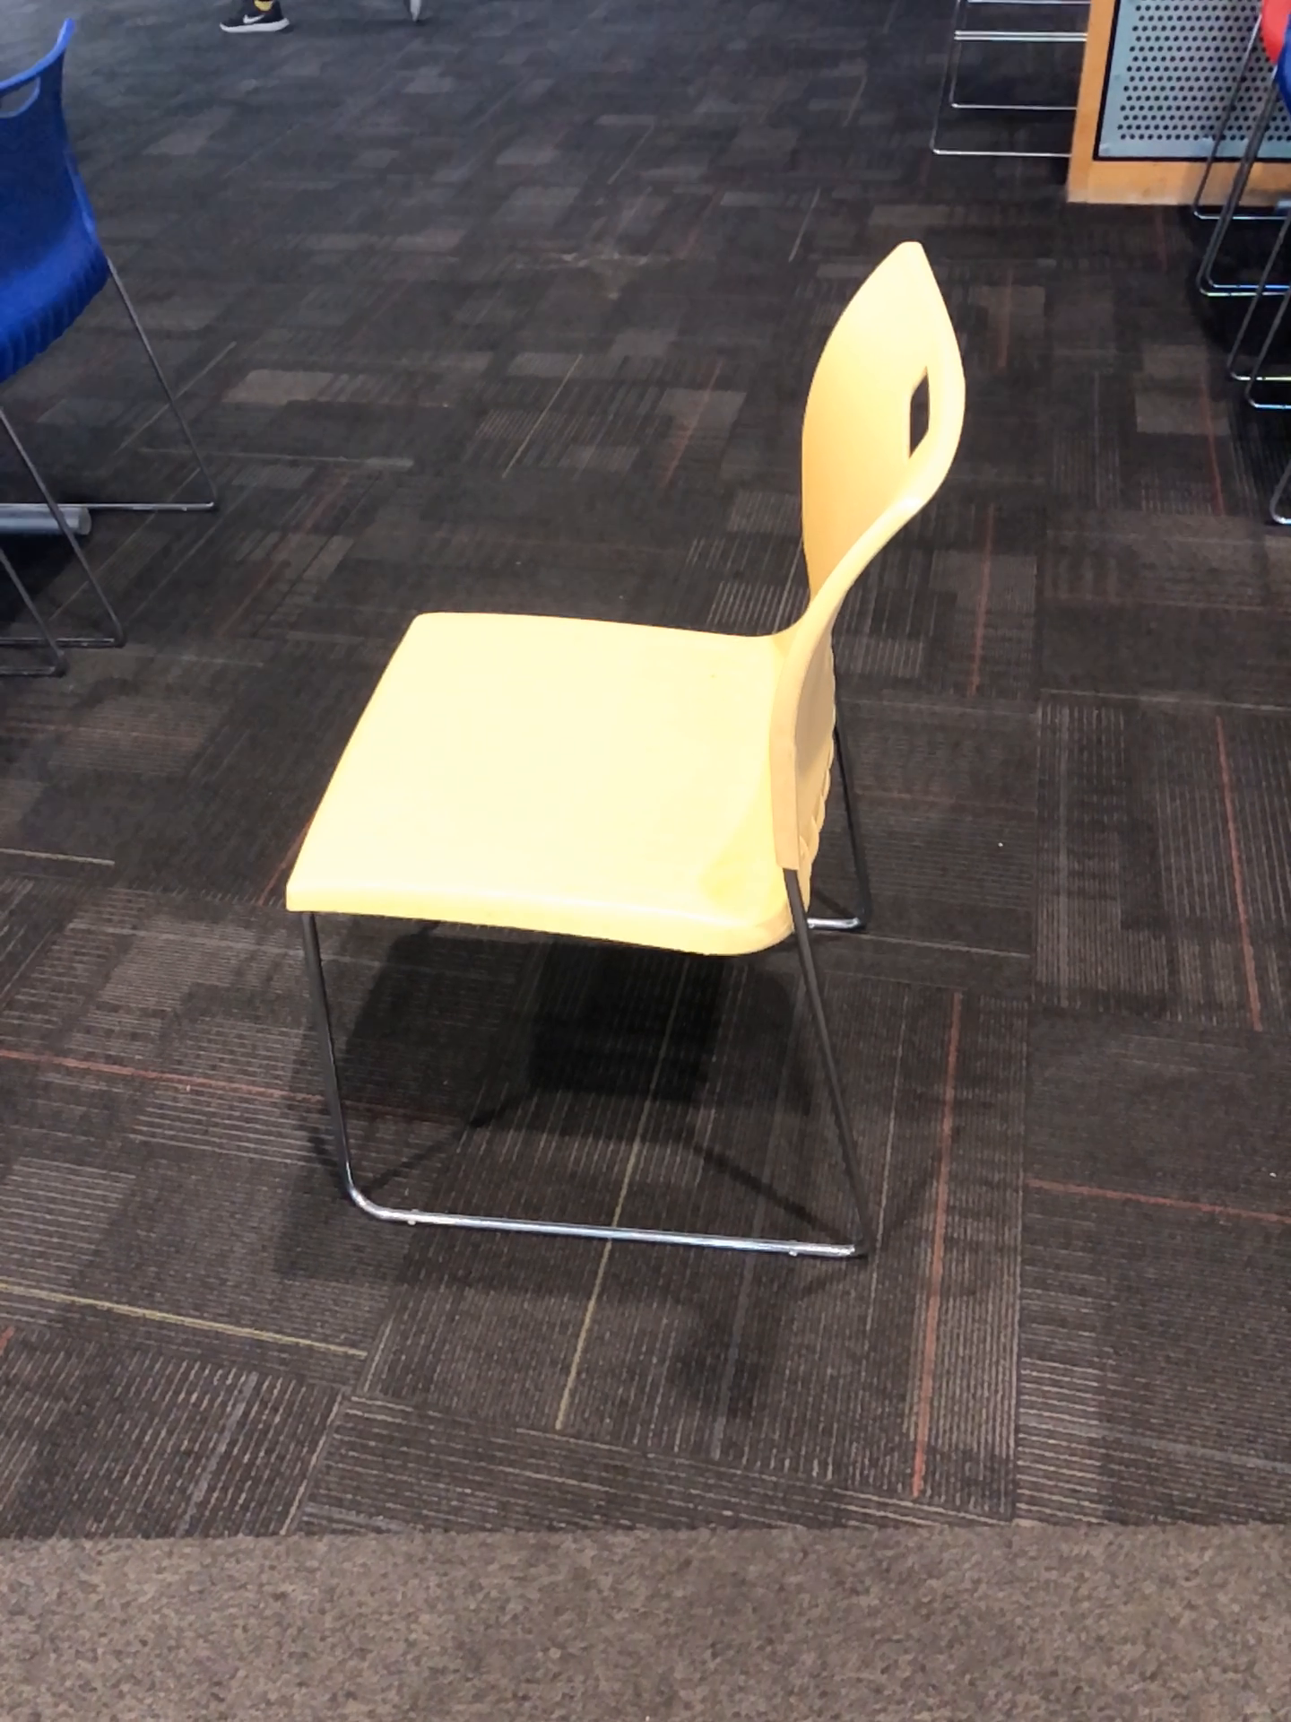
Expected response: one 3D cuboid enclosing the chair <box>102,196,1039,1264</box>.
[{"bbox_3d":[0.002,-0.119,1.288,0.560,0.736,0.573,3,41,8],"label":"chair"}]
